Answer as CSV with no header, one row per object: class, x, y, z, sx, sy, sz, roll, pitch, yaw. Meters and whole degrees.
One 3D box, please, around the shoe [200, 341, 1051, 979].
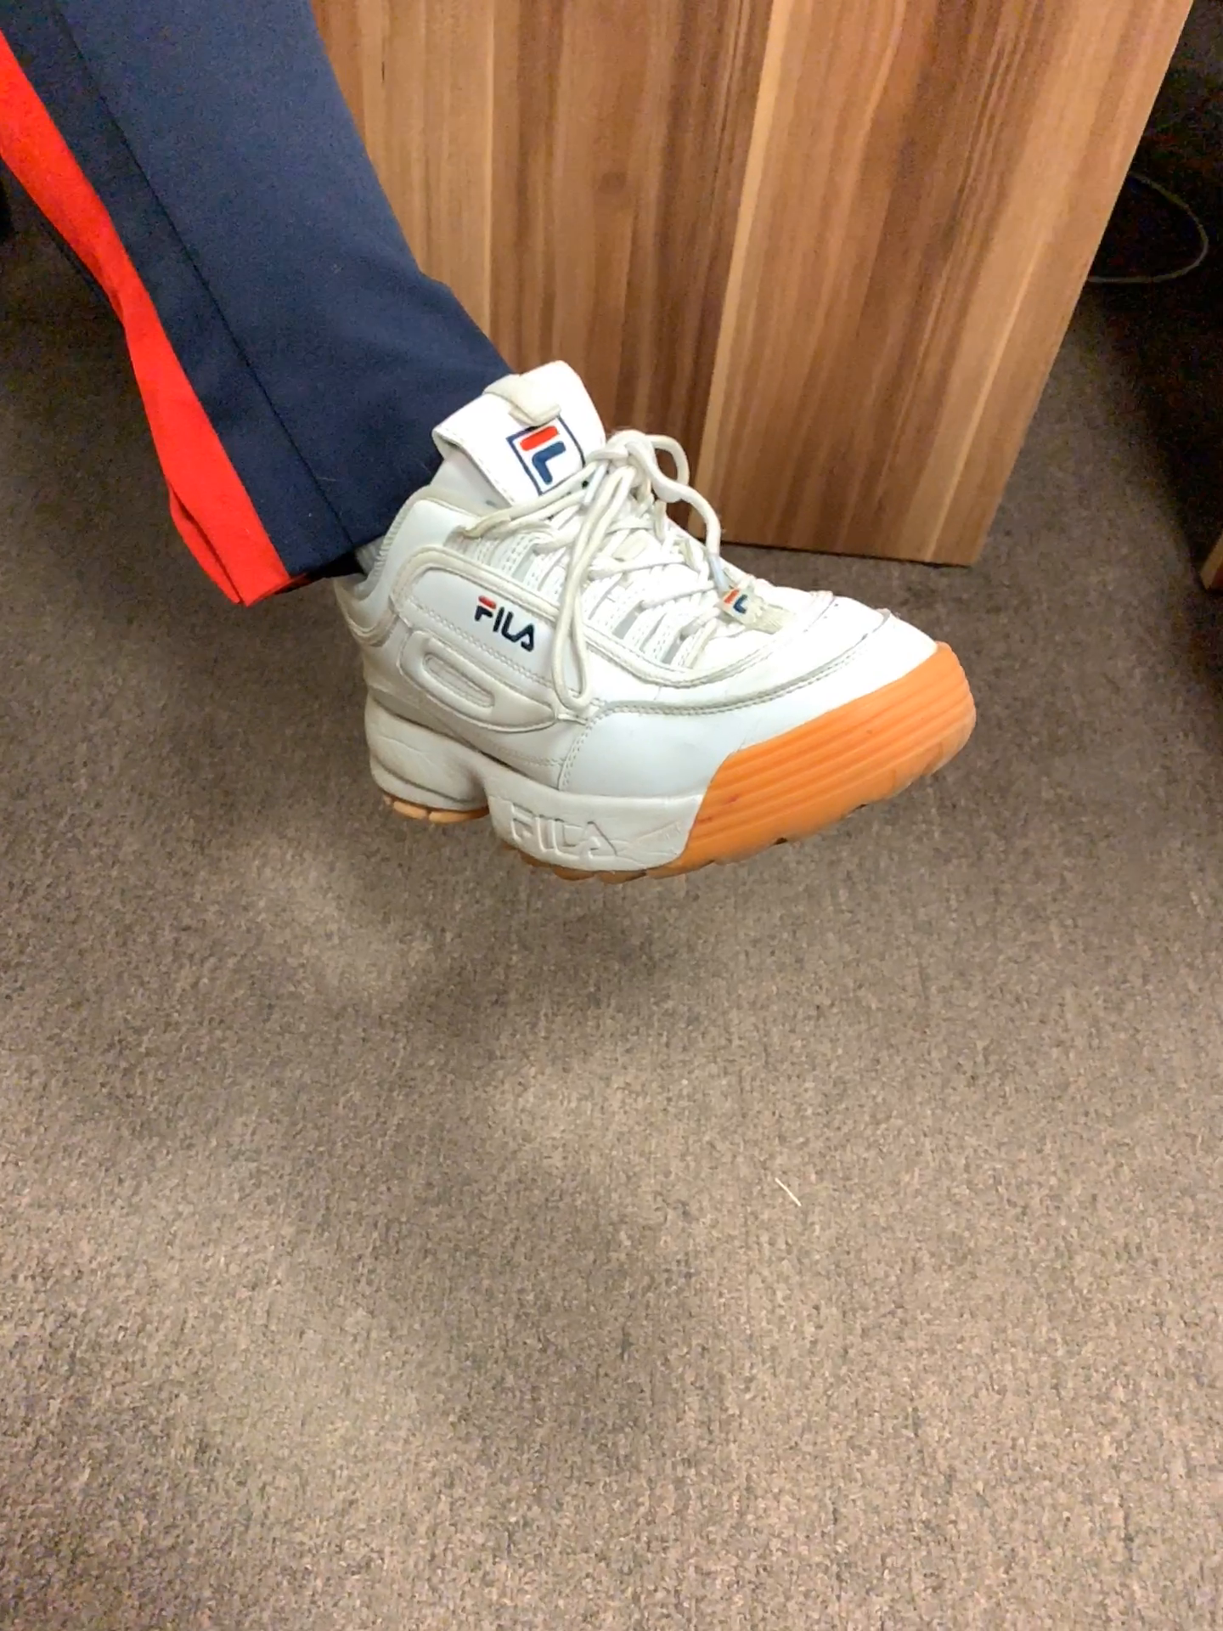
shoe,0.000,-0.071,0.409,0.230,0.130,0.130,20,38,40
